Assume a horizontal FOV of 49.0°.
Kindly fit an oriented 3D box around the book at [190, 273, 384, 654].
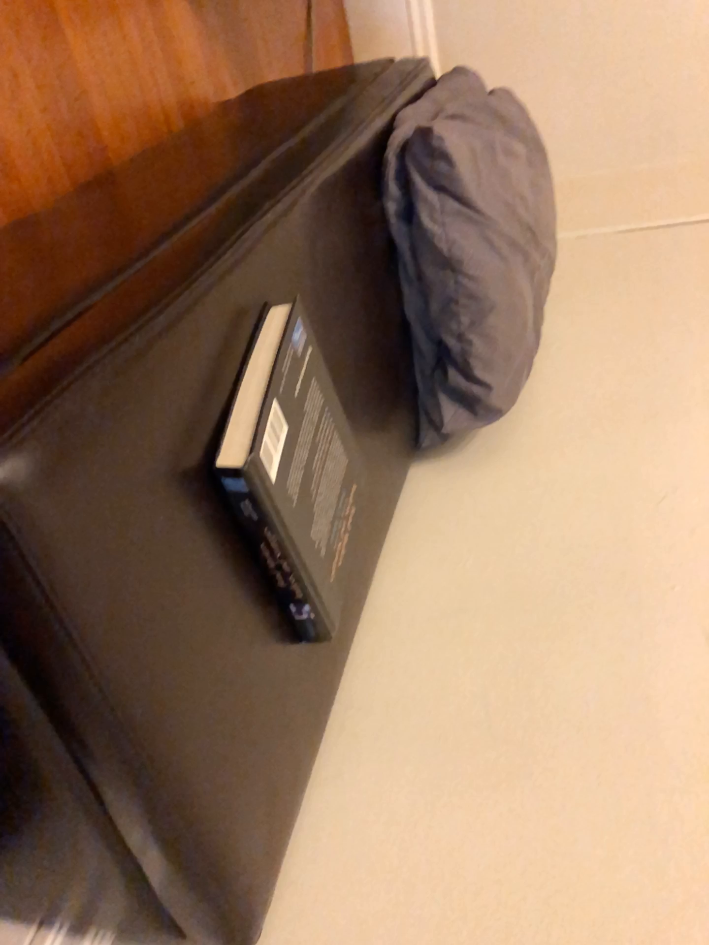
[{"bbox_3d":[-0.038,0.001,0.660,0.260,0.040,0.201,68,26,-46],"label":"book"}]
